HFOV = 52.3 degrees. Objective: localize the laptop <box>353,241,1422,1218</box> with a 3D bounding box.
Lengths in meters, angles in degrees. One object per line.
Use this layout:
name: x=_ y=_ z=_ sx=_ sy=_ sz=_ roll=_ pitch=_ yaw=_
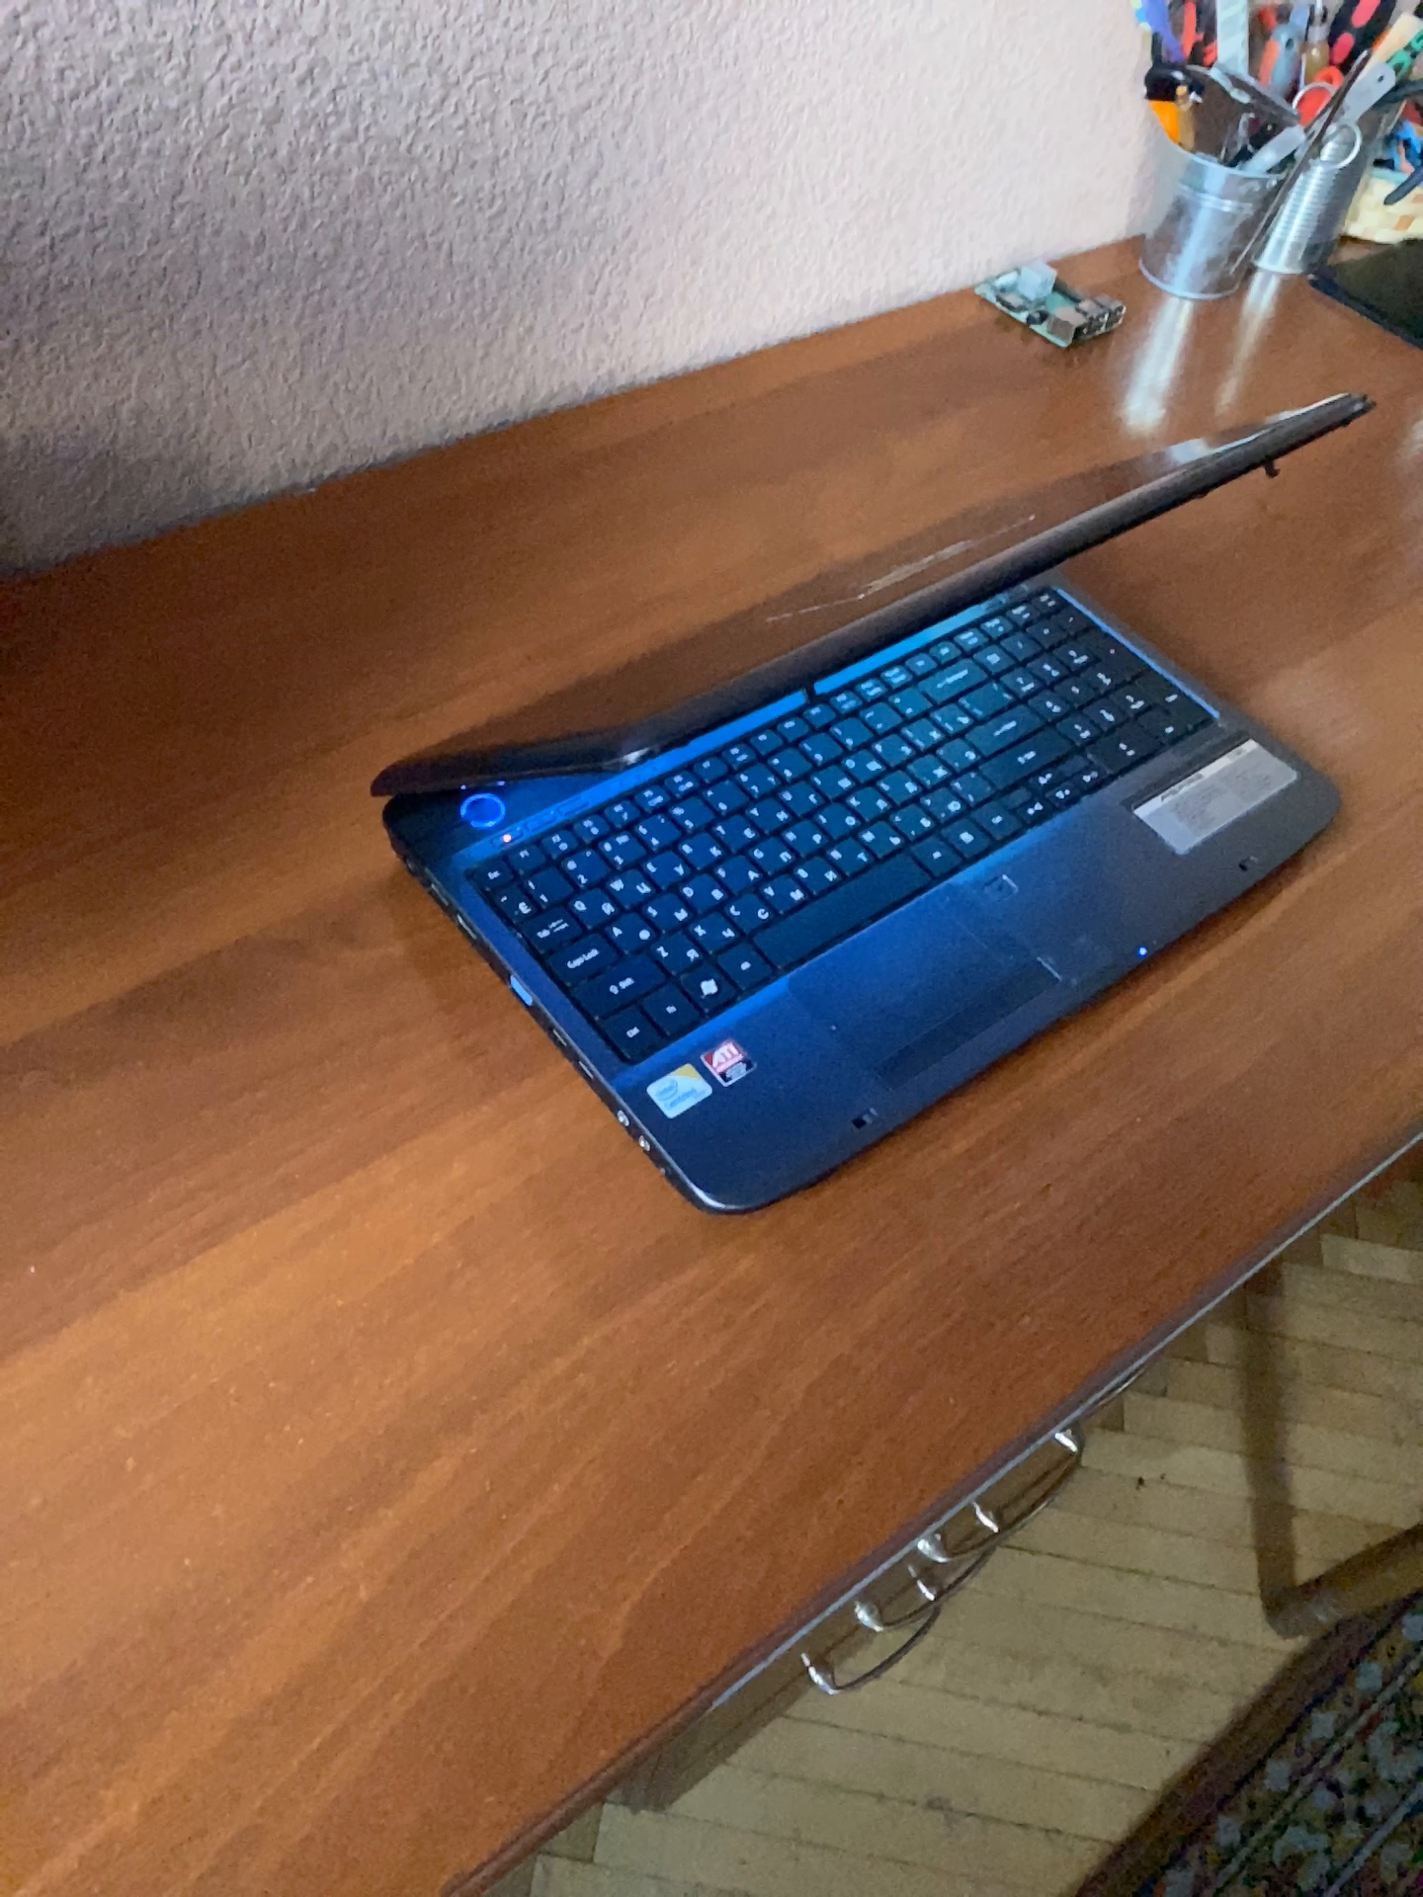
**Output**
laptop: x=0.088 y=-0.115 z=0.605 sx=0.381 sy=0.163 sz=0.241 roll=-29 pitch=61 yaw=-26
